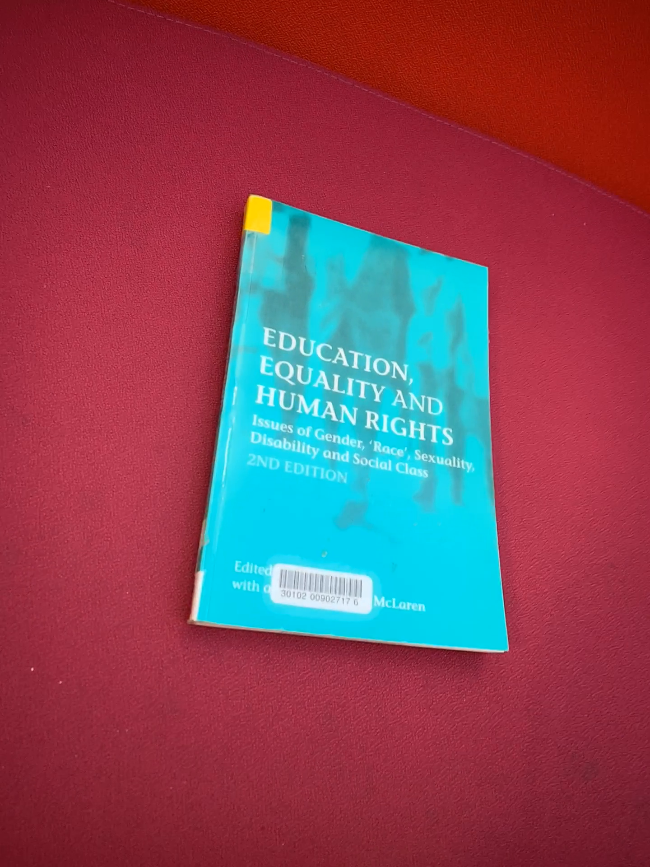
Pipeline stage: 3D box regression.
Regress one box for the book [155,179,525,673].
[{"bbox_3d":[0.018,-0.007,0.369,0.180,0.030,0.251,11,66,-18],"label":"book"}]
